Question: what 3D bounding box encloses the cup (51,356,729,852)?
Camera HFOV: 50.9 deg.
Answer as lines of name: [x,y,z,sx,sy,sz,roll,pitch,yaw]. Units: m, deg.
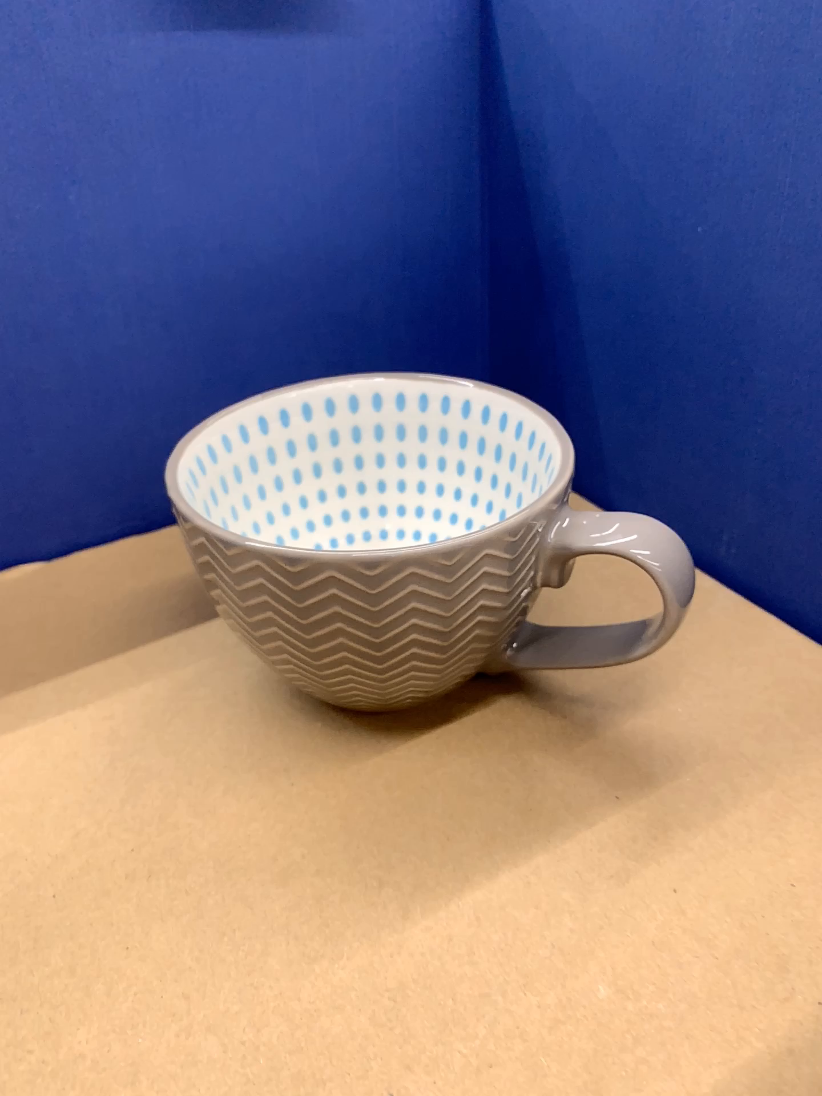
cup: [0.005,-0.001,0.242,0.143,0.061,0.119,9,32,20]
